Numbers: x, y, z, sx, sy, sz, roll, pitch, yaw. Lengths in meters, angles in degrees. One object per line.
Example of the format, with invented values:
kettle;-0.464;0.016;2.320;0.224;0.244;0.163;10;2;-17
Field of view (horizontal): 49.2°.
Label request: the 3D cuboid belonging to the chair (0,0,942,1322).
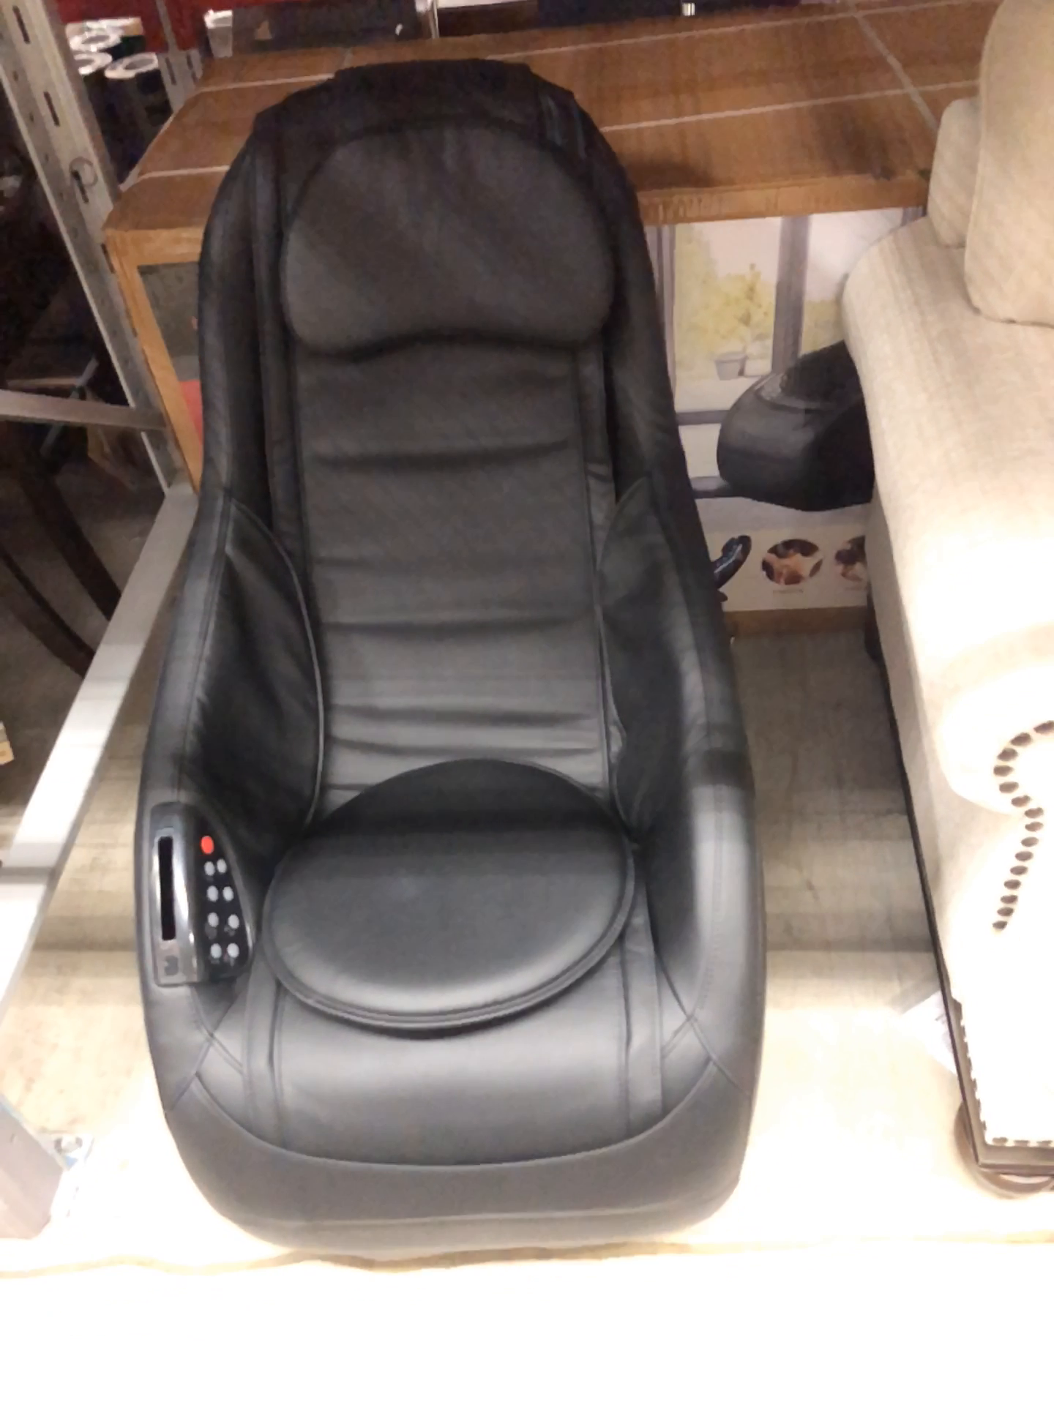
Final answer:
chair;-0.137;0.000;0.988;0.650;0.849;0.701;-5;45;3
